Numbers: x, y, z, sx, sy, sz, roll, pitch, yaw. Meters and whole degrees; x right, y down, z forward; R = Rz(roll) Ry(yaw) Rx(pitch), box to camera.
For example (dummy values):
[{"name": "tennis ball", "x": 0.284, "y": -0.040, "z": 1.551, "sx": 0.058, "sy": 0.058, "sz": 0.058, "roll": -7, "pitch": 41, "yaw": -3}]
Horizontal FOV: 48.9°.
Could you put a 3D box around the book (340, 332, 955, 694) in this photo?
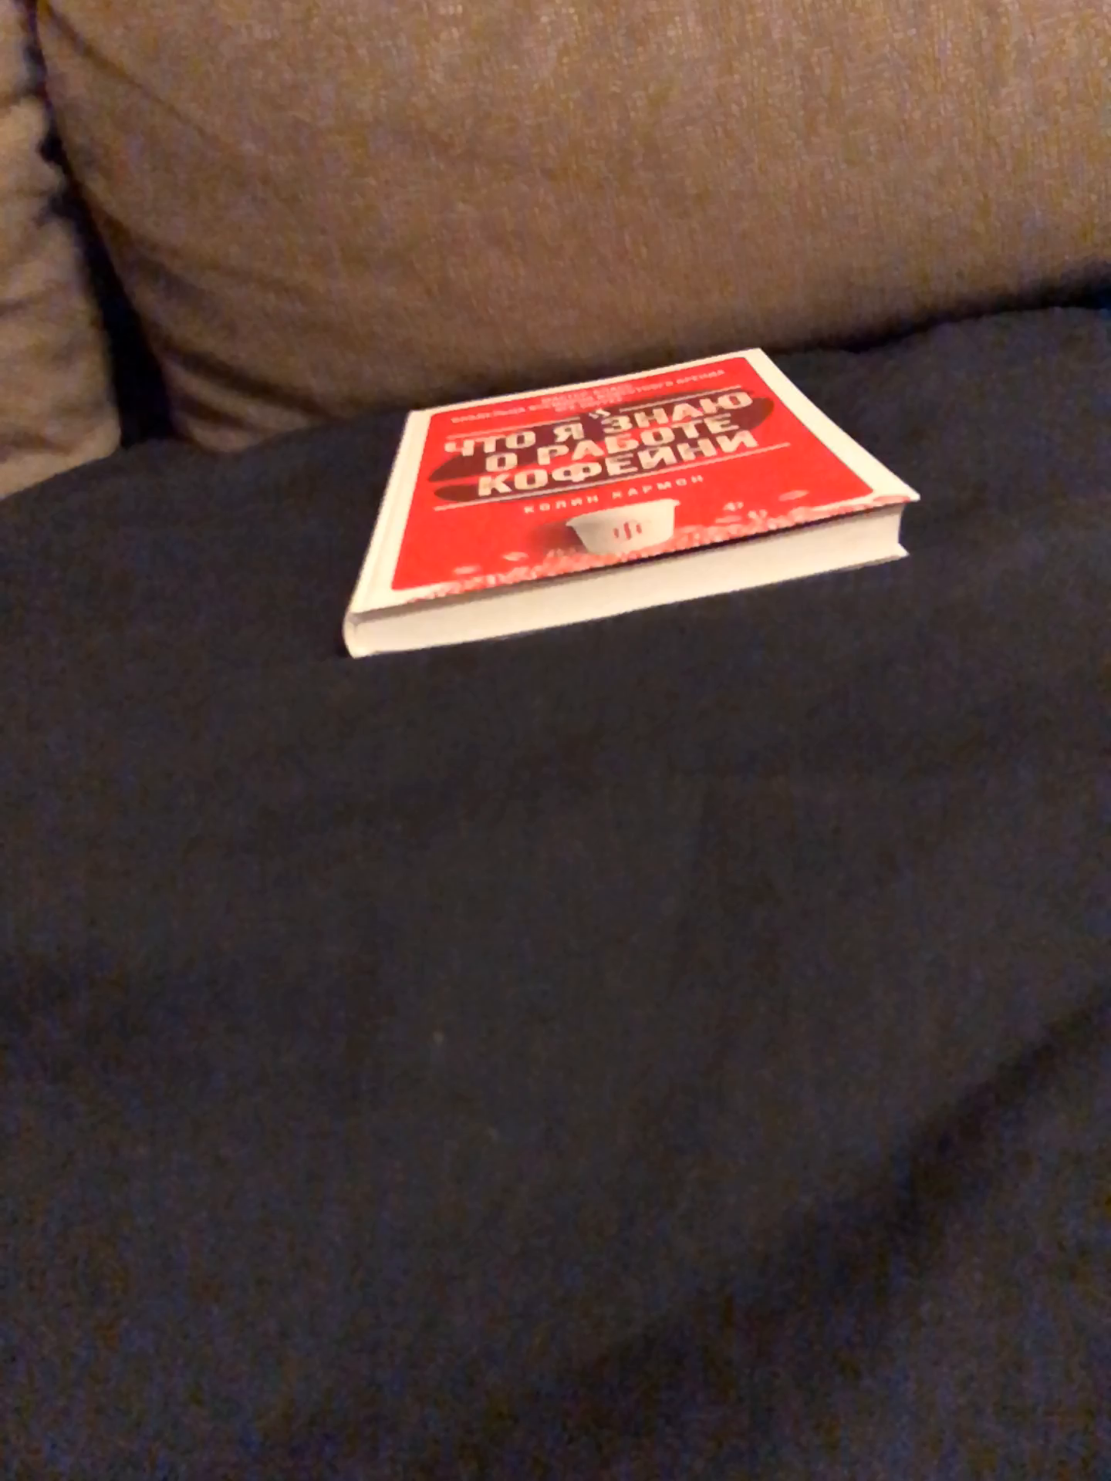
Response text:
[{"name": "book", "x": 0.019, "y": -0.088, "z": 0.403, "sx": 0.153, "sy": 0.020, "sz": 0.223, "roll": -11, "pitch": 28, "yaw": 4}]
